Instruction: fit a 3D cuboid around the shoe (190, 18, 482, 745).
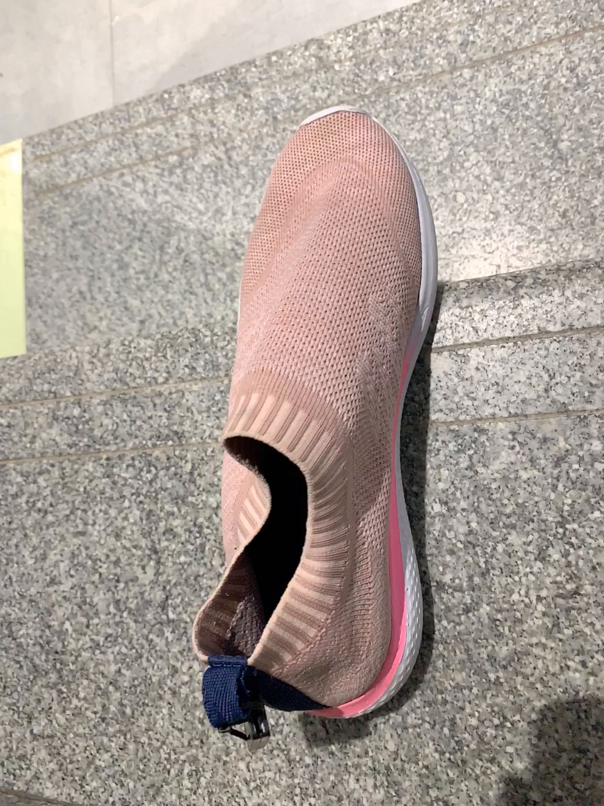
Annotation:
[{"bbox_3d":[0.021,-0.009,0.270,0.100,0.080,0.250,-1,85,23],"label":"shoe"}]
